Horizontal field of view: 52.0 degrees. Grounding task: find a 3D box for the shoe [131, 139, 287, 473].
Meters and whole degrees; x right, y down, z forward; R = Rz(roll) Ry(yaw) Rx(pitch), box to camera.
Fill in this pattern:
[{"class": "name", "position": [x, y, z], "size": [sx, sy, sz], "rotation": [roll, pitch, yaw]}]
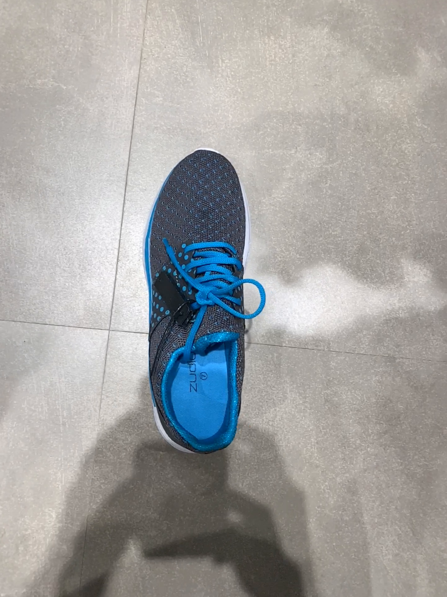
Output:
[{"class": "shoe", "position": [-0.017, 0.005, 0.368], "size": [0.102, 0.102, 0.227], "rotation": [-1, 85, -7]}]
